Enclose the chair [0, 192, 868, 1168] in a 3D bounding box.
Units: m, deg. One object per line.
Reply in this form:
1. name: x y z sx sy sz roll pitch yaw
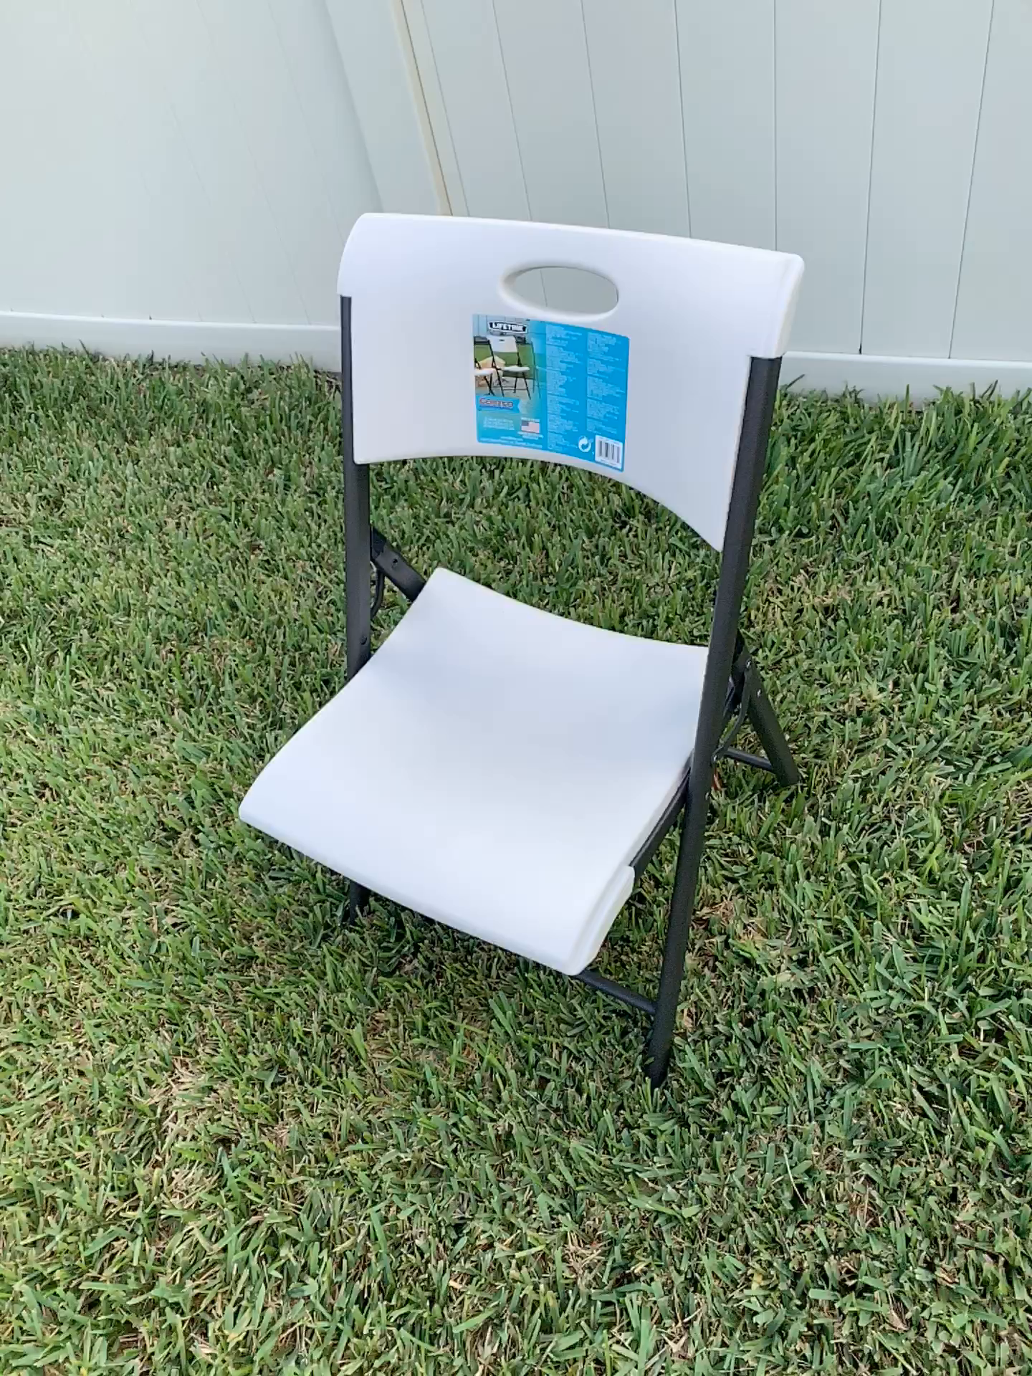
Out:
1. chair: 0.000 -0.004 1.098 0.520 0.766 0.518 18 53 28
